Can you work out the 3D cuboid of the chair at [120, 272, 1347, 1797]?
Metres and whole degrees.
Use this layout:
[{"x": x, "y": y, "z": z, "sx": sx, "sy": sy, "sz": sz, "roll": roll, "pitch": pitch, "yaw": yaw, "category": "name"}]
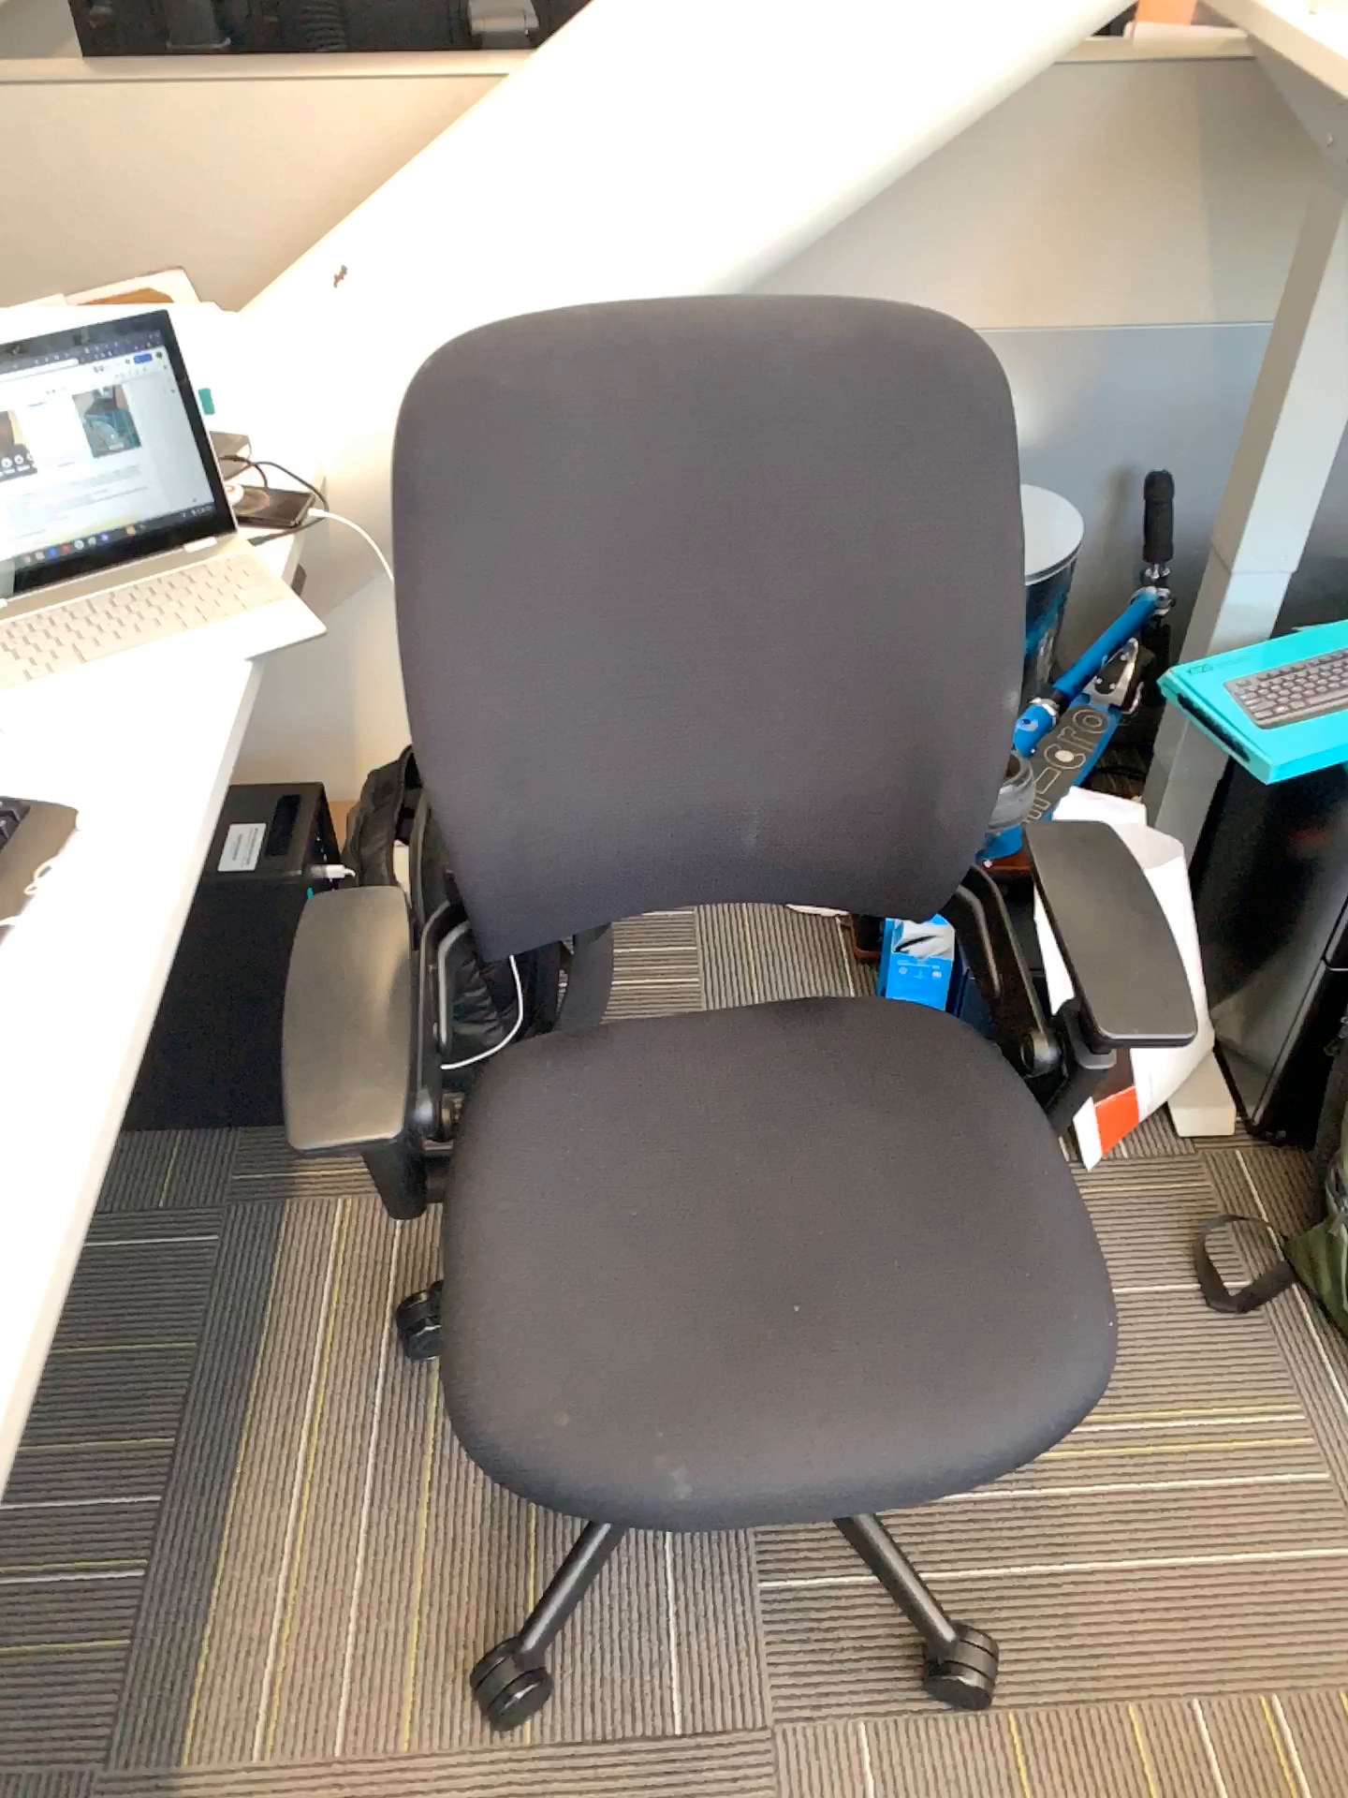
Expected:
[{"x": 0.056, "y": 0.252, "z": 1.264, "sx": 0.580, "sy": 1.362, "sz": 0.634, "roll": -2, "pitch": 43, "yaw": -1, "category": "chair"}]
